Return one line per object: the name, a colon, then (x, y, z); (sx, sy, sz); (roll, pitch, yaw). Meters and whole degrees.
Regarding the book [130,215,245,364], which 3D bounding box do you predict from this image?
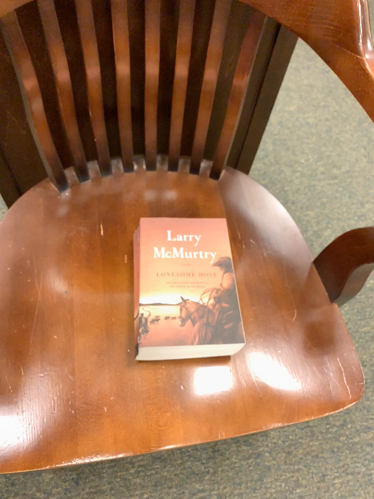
book: (-0.008, 0.049, 0.546); (0.140, 0.060, 0.201); (-1, 56, -6)
